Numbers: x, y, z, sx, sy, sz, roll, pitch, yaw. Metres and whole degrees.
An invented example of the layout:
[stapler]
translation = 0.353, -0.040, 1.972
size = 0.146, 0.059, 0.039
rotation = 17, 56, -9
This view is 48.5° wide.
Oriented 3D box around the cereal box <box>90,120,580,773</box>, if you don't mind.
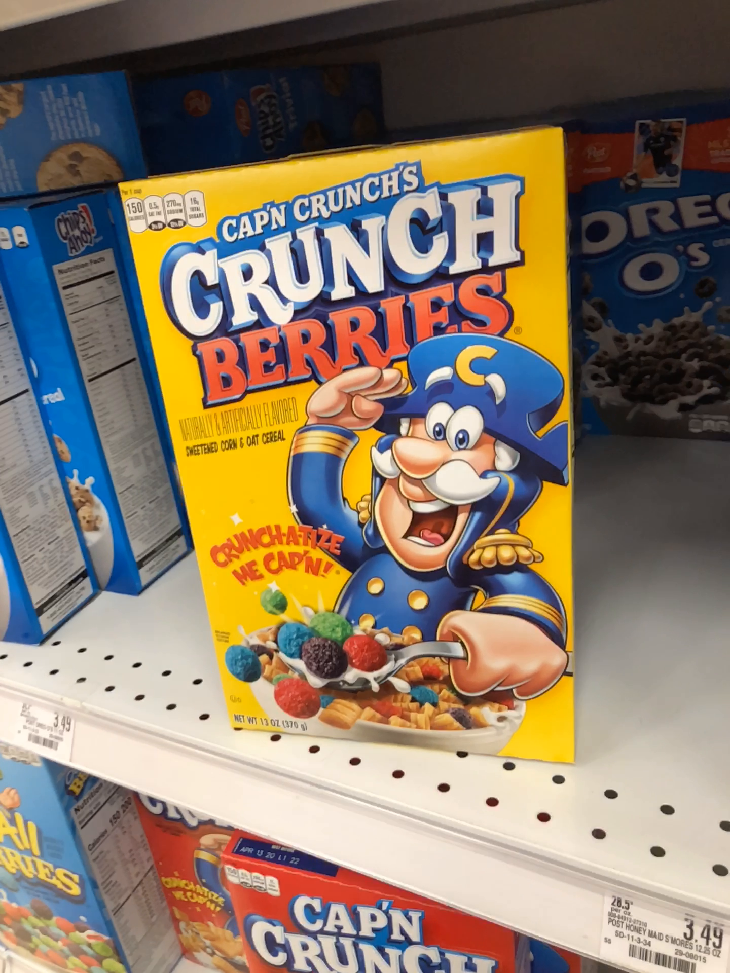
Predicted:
[cereal box]
translation = -0.002, -0.009, 0.399
size = 0.200, 0.289, 0.060
rotation = 0, 21, 18
